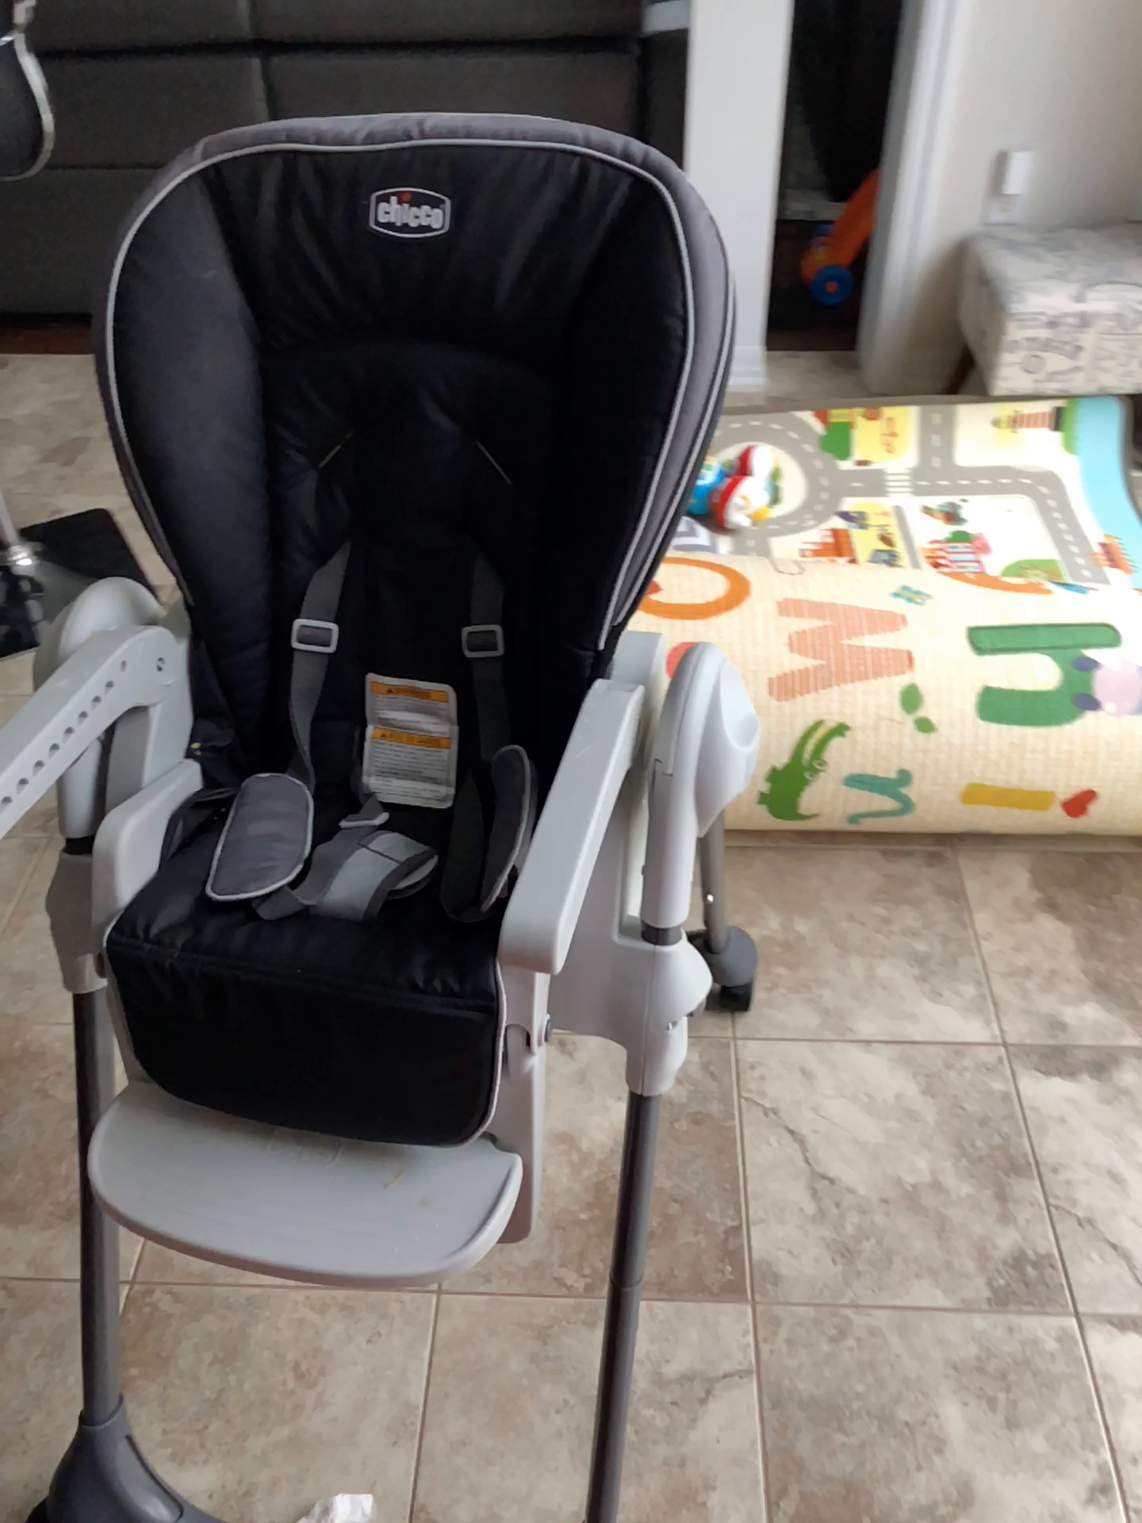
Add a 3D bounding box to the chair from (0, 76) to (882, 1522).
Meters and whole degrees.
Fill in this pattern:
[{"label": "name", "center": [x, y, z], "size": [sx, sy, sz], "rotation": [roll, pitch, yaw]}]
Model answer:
[{"label": "chair", "center": [-0.160, 0.106, 1.043], "size": [0.650, 0.996, 0.883], "rotation": [7, 42, 10]}]
